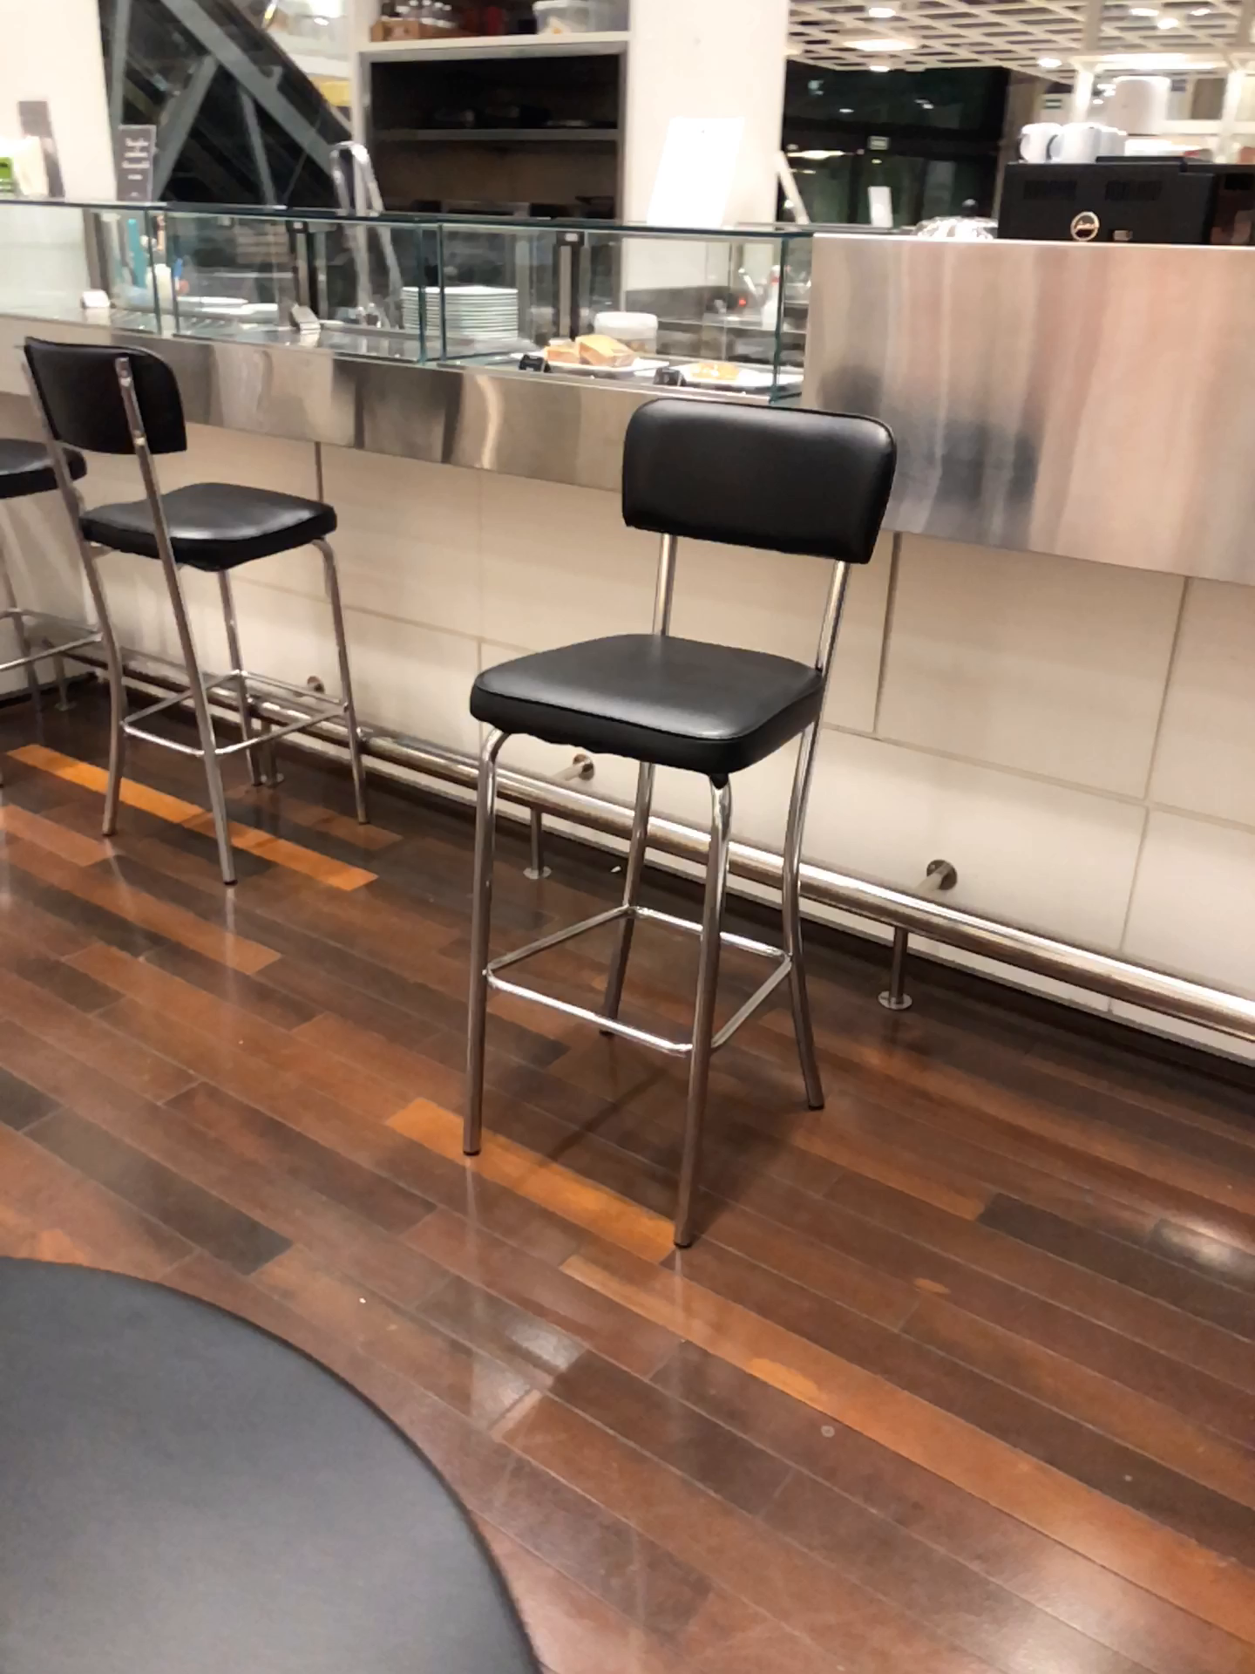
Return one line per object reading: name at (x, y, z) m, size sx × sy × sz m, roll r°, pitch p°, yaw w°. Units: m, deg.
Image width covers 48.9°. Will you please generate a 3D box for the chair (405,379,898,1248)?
chair at (0.031, -0.061, 1.879) m, size 0.421 × 1.013 × 0.473 m, roll 15°, pitch 26°, yaw 29°
